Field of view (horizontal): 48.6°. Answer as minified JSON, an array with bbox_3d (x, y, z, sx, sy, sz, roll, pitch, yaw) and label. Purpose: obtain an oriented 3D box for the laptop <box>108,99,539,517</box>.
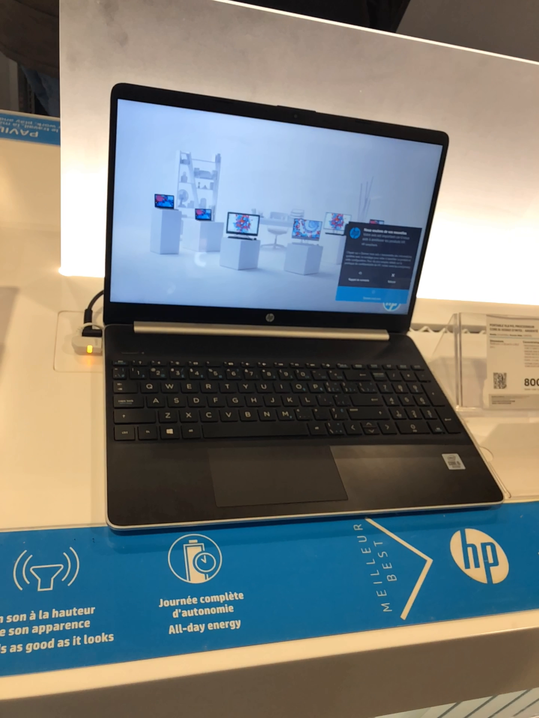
[{"bbox_3d":[0.036,-0.057,0.533,0.336,0.206,0.317,2,39,-16],"label":"laptop"}]
